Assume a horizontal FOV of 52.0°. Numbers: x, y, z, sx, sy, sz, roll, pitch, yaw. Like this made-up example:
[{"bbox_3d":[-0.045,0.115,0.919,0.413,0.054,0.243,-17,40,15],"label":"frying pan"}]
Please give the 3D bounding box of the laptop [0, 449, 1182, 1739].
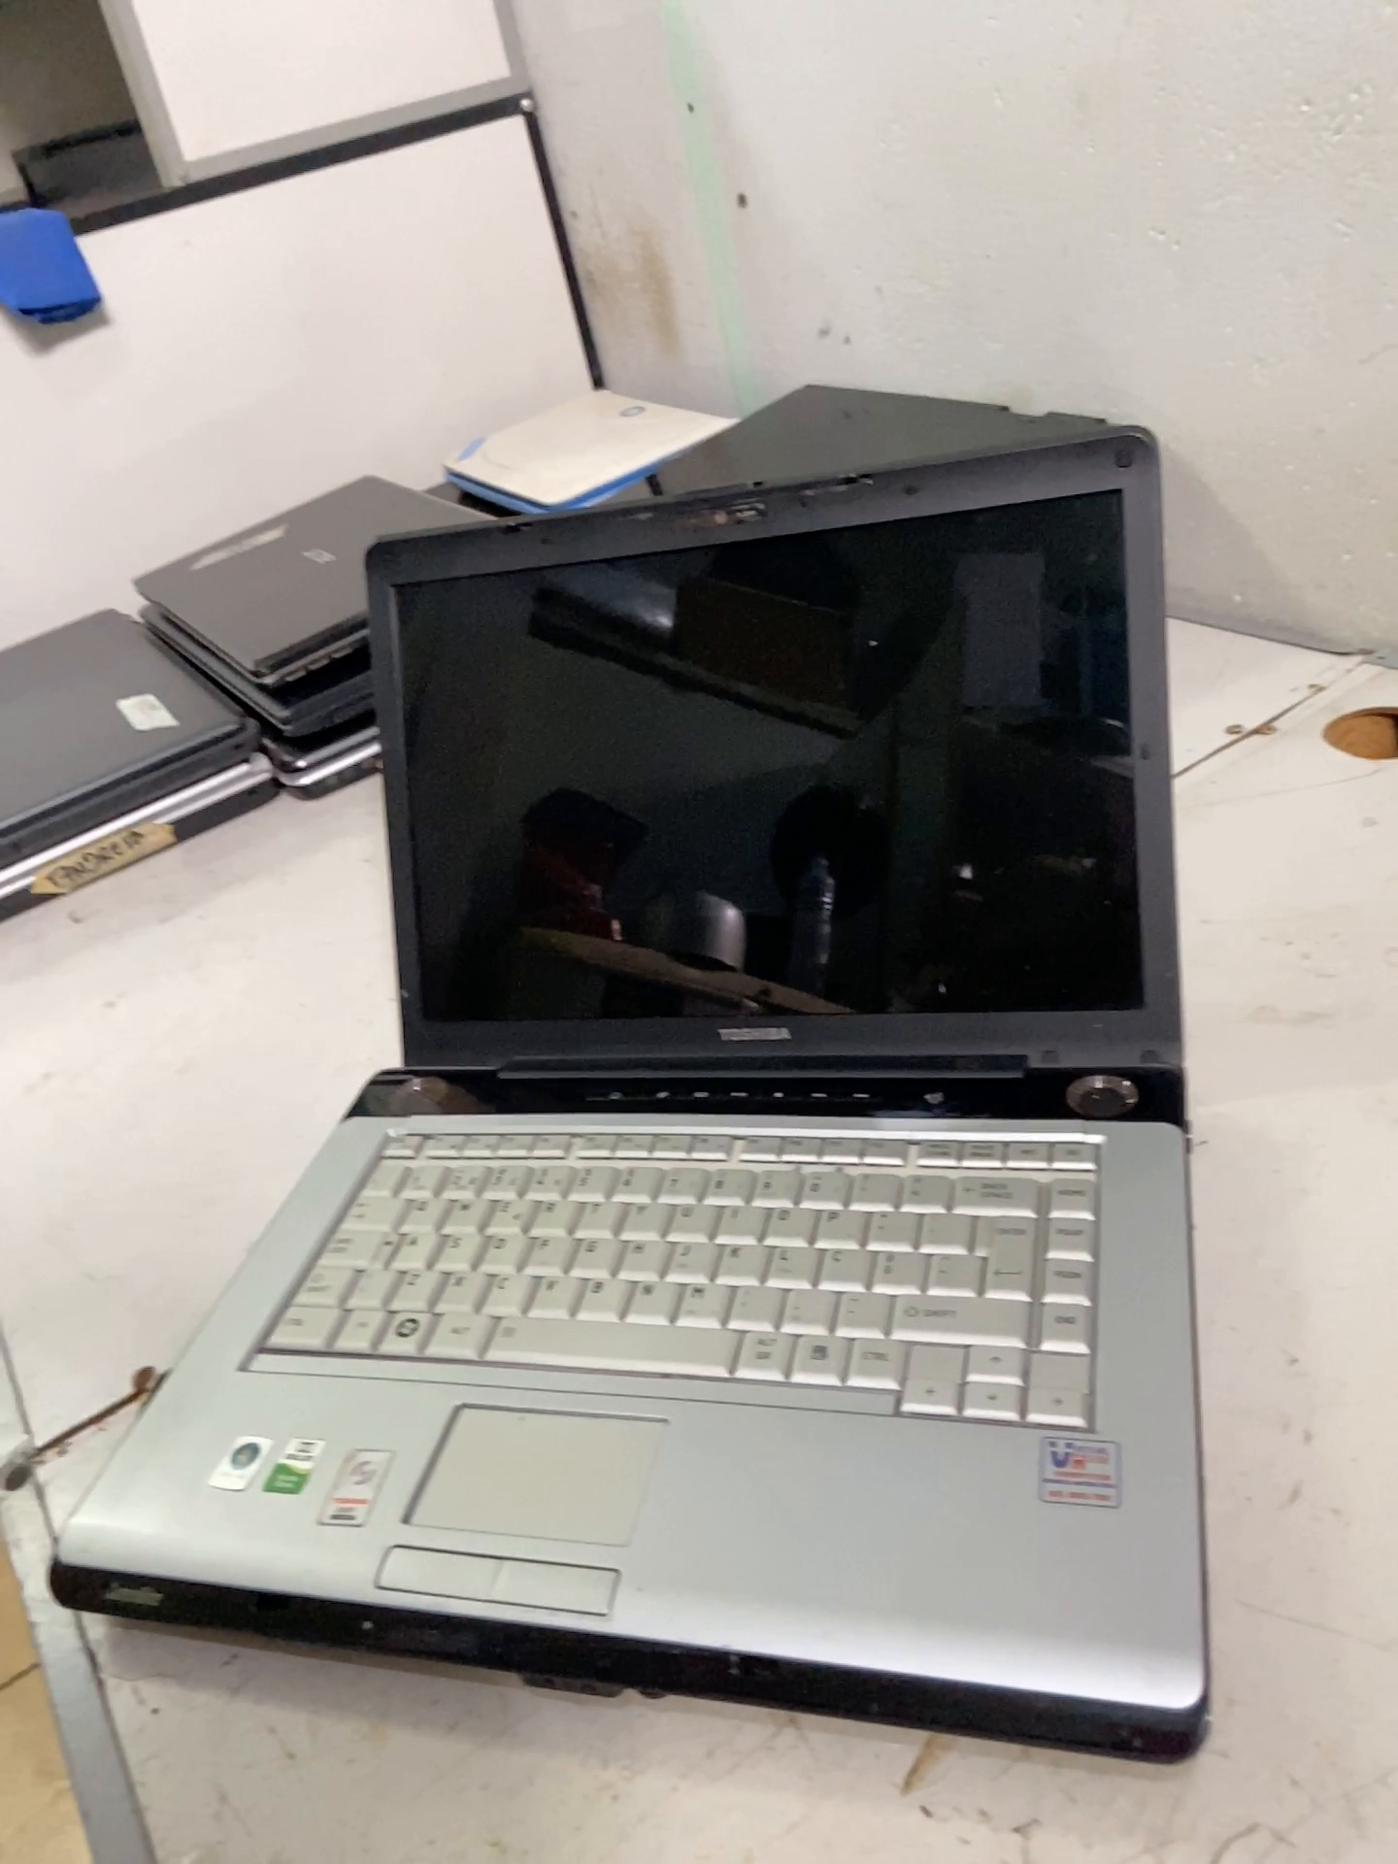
[{"bbox_3d":[-0.021,0.011,0.512,0.350,0.200,0.395,-2,34,19],"label":"laptop"}]
